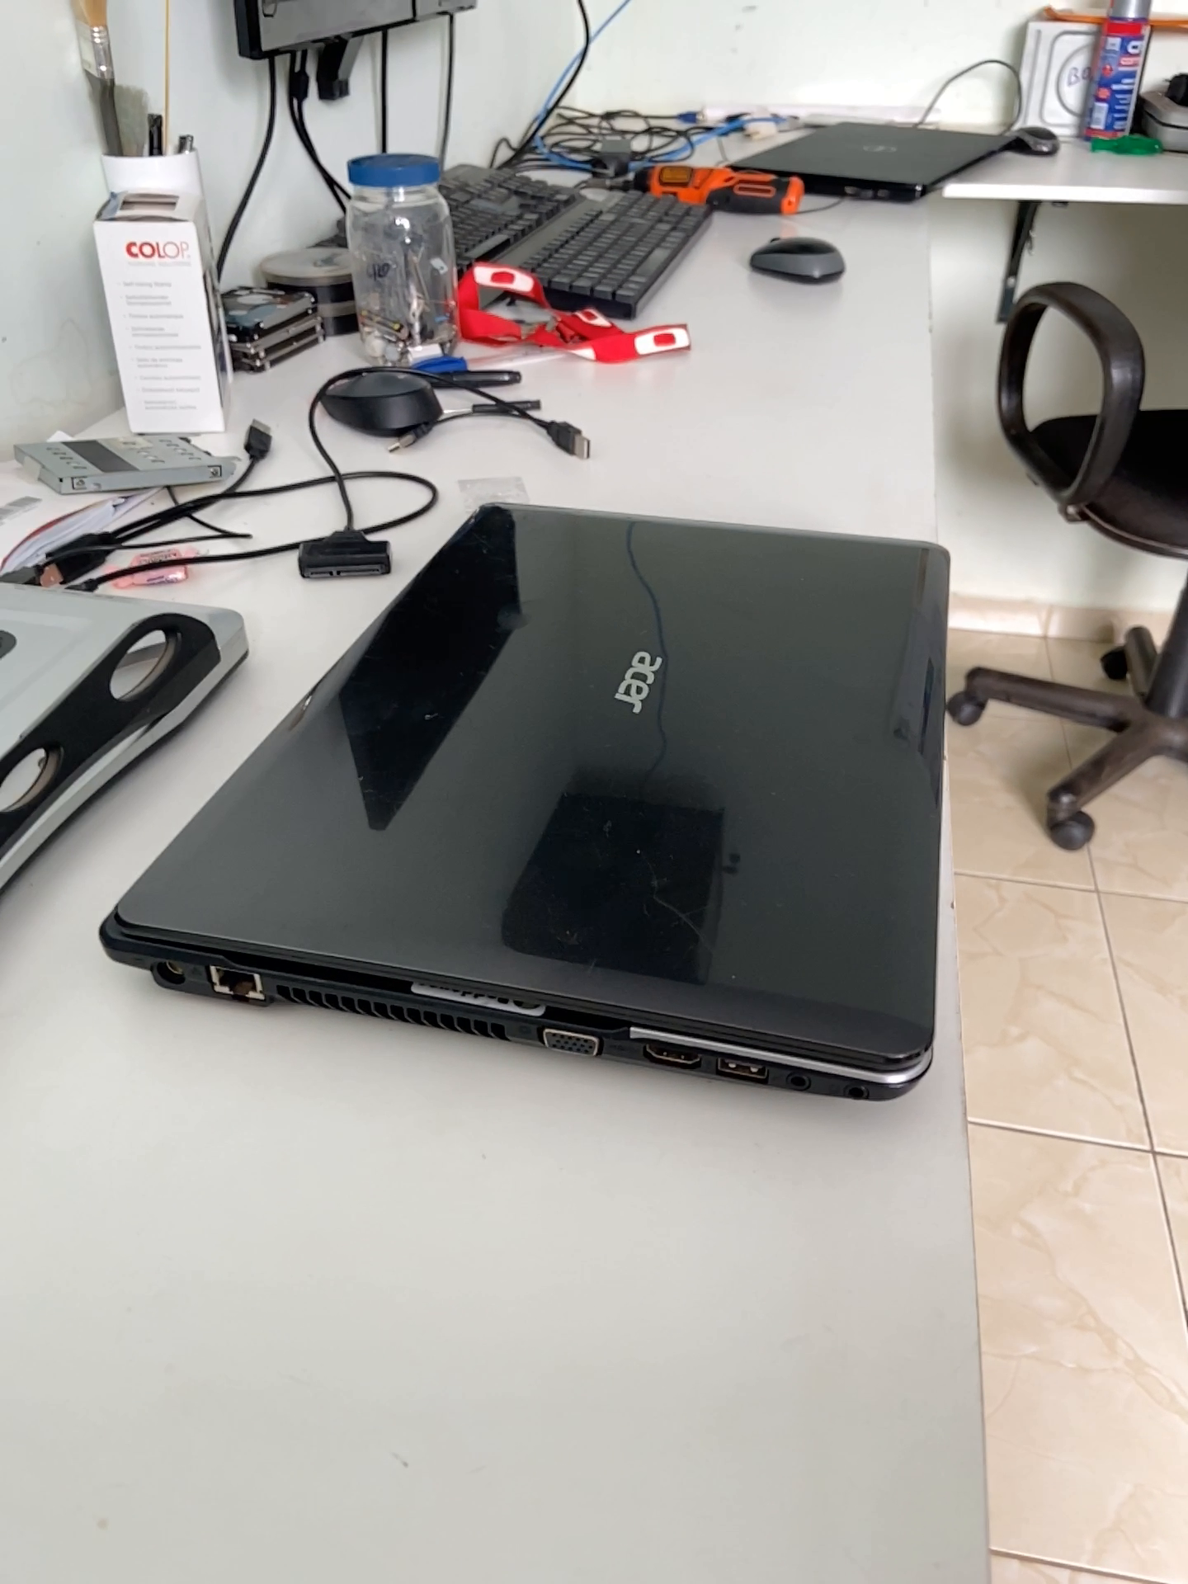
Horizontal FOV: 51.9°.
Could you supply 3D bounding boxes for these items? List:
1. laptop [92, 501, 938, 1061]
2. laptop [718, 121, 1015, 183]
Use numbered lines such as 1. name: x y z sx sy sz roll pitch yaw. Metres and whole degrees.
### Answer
1. laptop: 0.009 -0.040 0.461 0.230 0.005 0.337 7 35 12
2. laptop: 0.318 -0.725 1.373 0.238 0.001 0.437 17 38 25
